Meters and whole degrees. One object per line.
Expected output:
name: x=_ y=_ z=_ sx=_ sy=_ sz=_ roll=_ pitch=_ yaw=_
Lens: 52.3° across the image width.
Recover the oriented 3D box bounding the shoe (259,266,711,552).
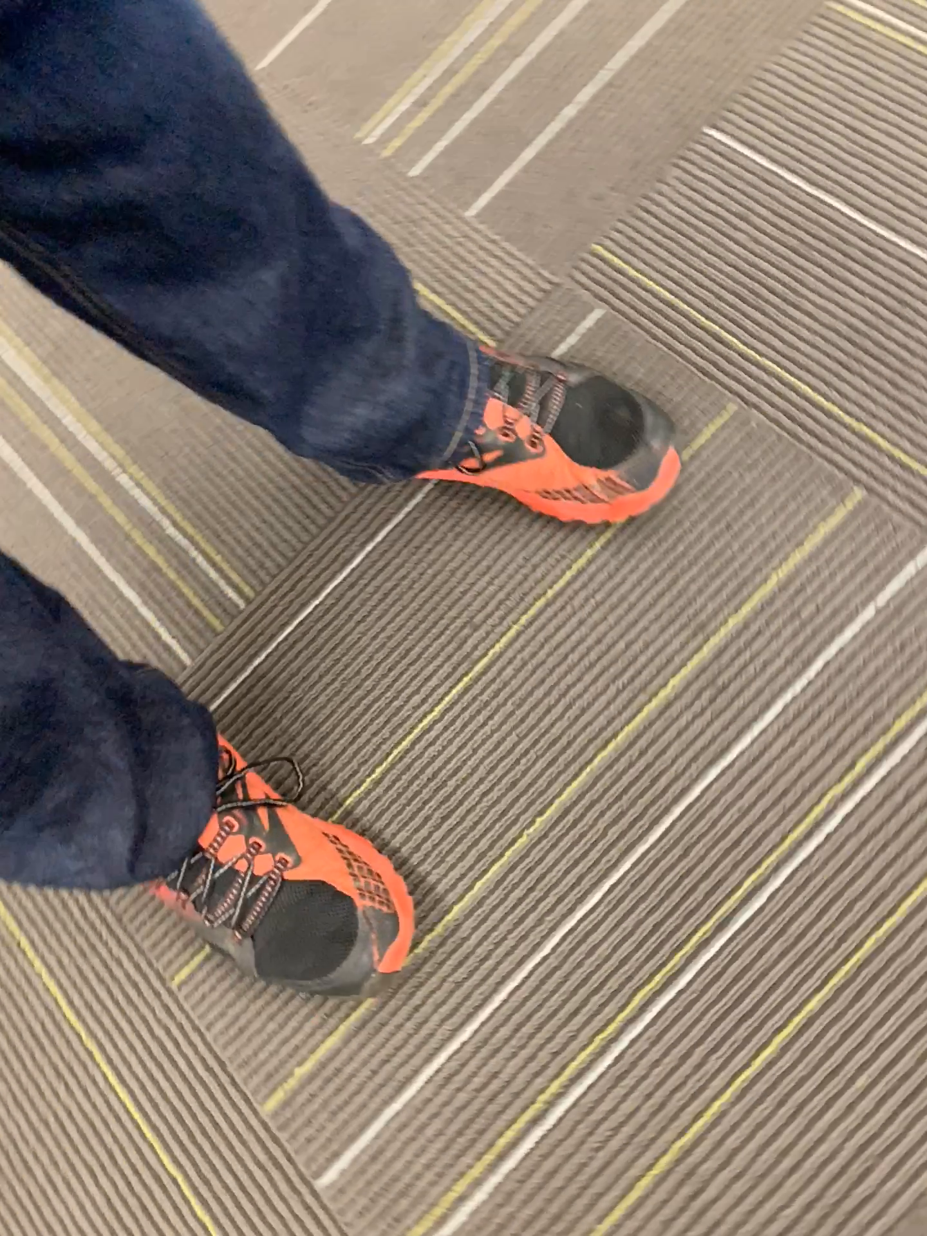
shoe: x=0.019 y=-0.159 z=0.711 sx=0.301 sy=0.100 sz=0.130 roll=15 pitch=79 yaw=19

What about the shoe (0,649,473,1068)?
shoe: x=-0.170 y=0.163 z=0.688 sx=0.321 sy=0.120 sz=0.120 roll=29 pitch=84 yaw=21
